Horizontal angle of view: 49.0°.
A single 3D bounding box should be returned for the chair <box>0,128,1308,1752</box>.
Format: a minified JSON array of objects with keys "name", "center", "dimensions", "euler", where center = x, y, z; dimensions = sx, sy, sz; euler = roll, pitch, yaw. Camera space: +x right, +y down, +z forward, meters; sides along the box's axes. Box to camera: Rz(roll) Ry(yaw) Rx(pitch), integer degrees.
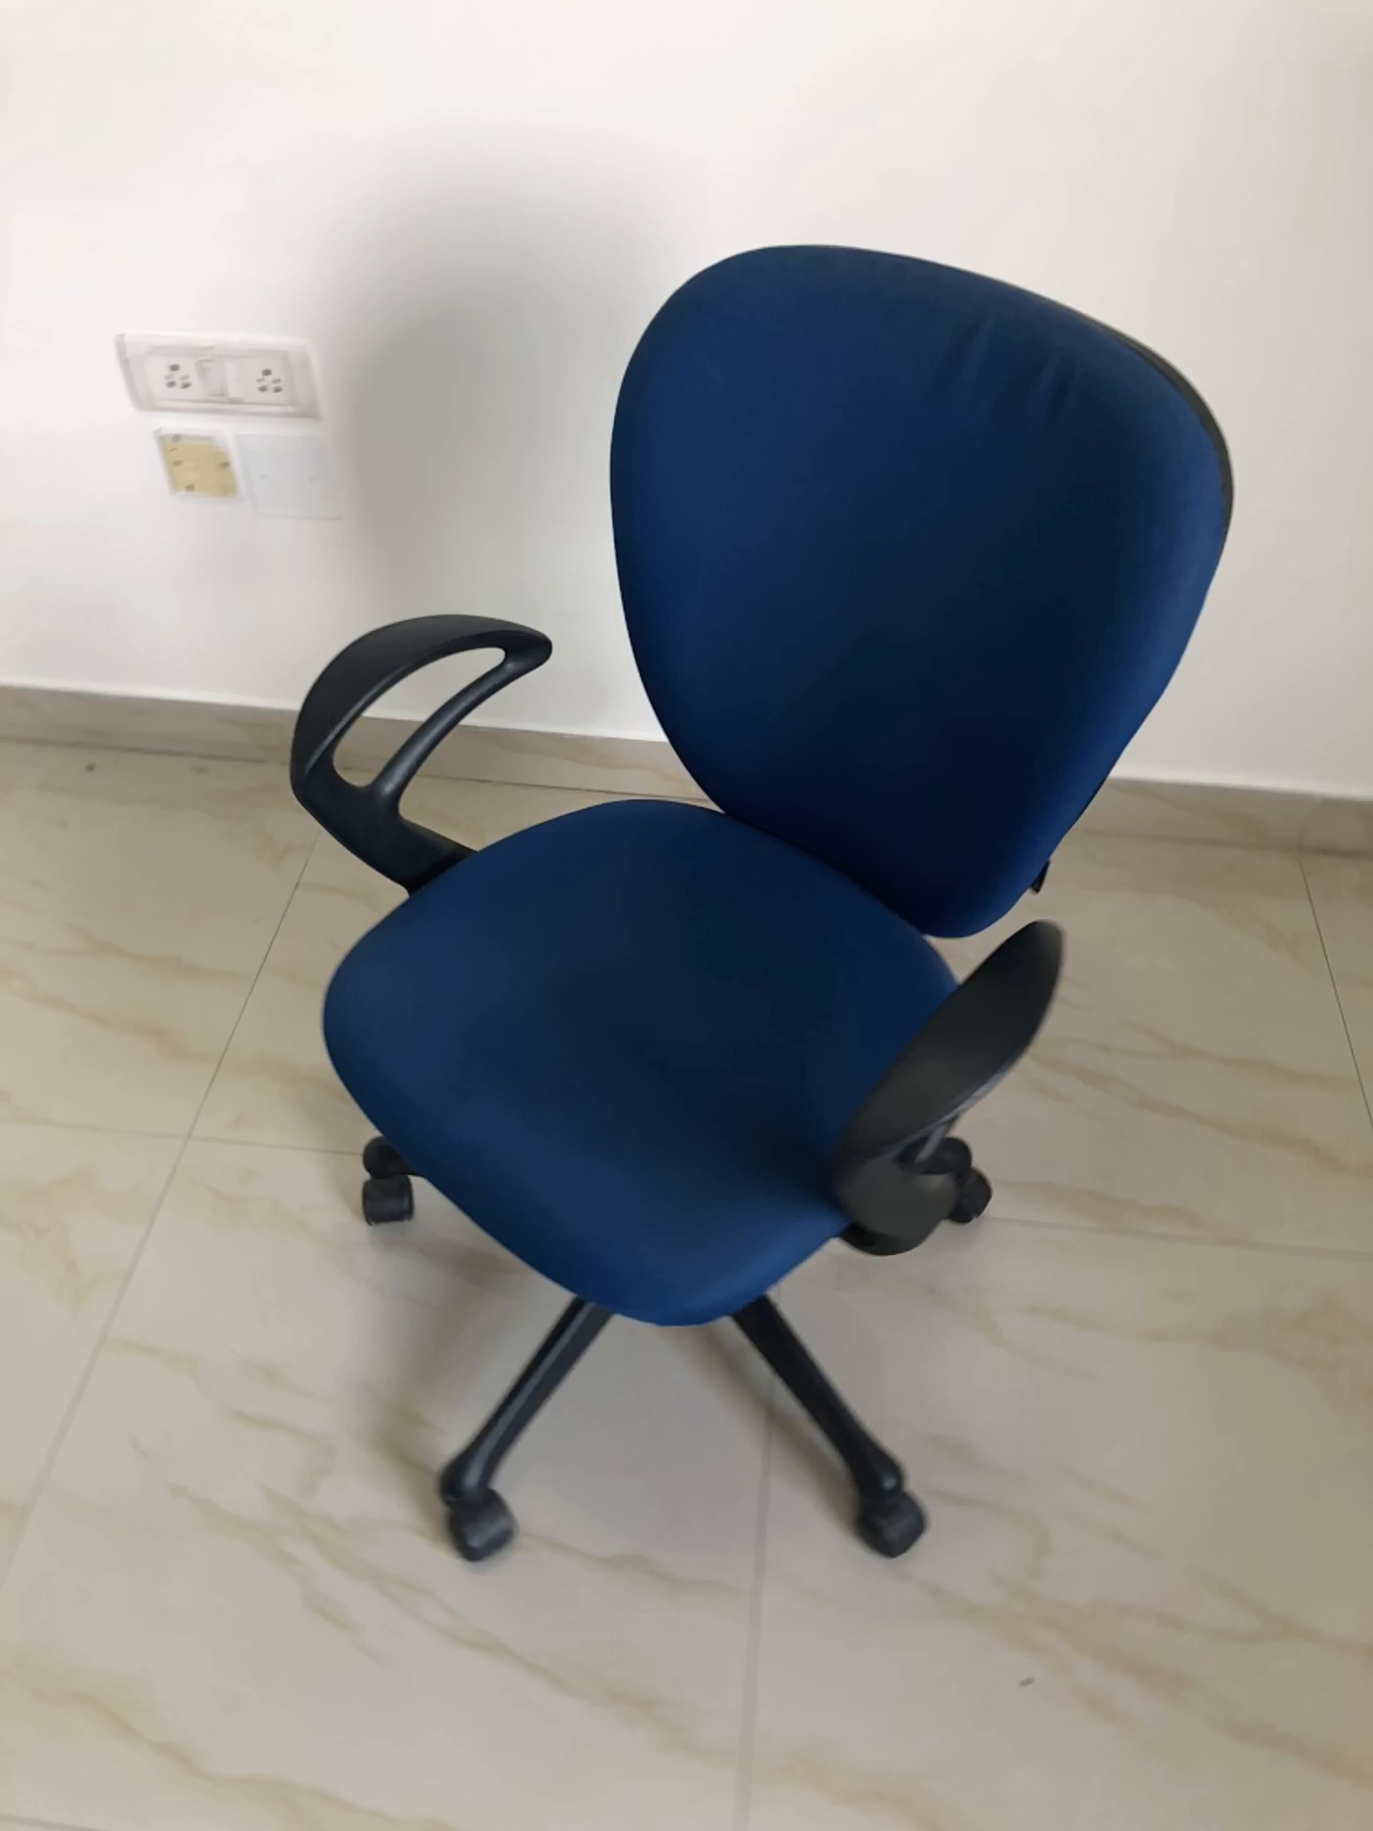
[{"name":"chair","center":[-0.017,0.021,1.193],"dimensions":[0.650,0.914,0.704],"euler":[16,46,15]}]
